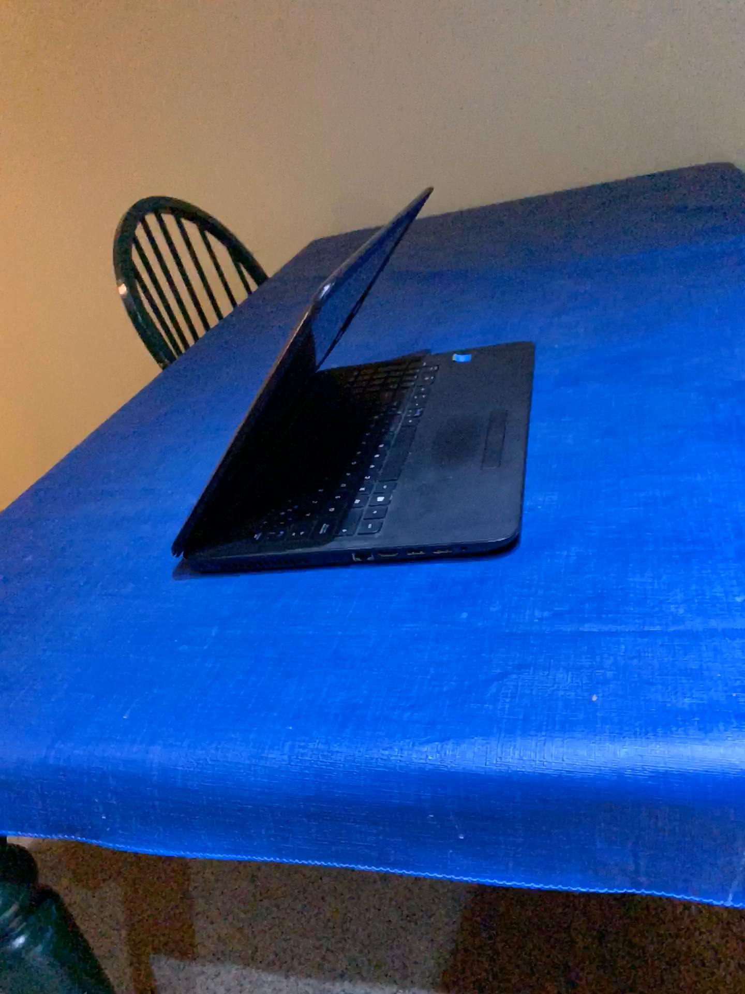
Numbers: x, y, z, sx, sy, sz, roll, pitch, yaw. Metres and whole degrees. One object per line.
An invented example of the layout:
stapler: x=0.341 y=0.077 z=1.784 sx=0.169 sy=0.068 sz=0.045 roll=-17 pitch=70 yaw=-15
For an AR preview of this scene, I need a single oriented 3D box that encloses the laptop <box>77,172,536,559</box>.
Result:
laptop: x=-0.008 y=-0.131 z=0.643 sx=0.251 sy=0.167 sz=0.373 roll=-5 pitch=29 yaw=17
